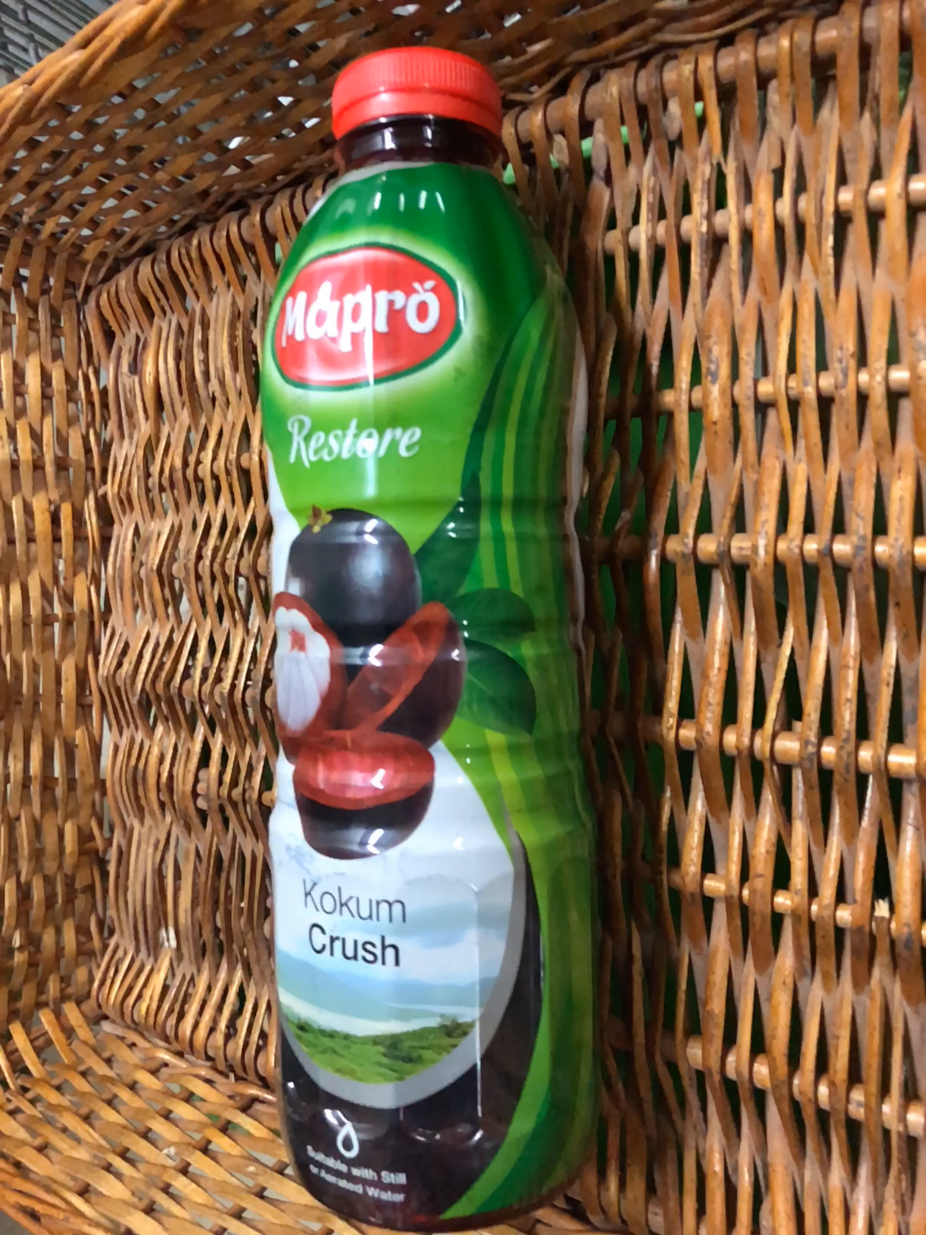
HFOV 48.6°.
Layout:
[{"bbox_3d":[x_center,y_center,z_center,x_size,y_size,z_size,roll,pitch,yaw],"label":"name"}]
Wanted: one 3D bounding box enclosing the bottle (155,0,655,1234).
[{"bbox_3d":[-0.011,-0.009,0.237,0.080,0.080,0.270,-1,90,34],"label":"bottle"}]
